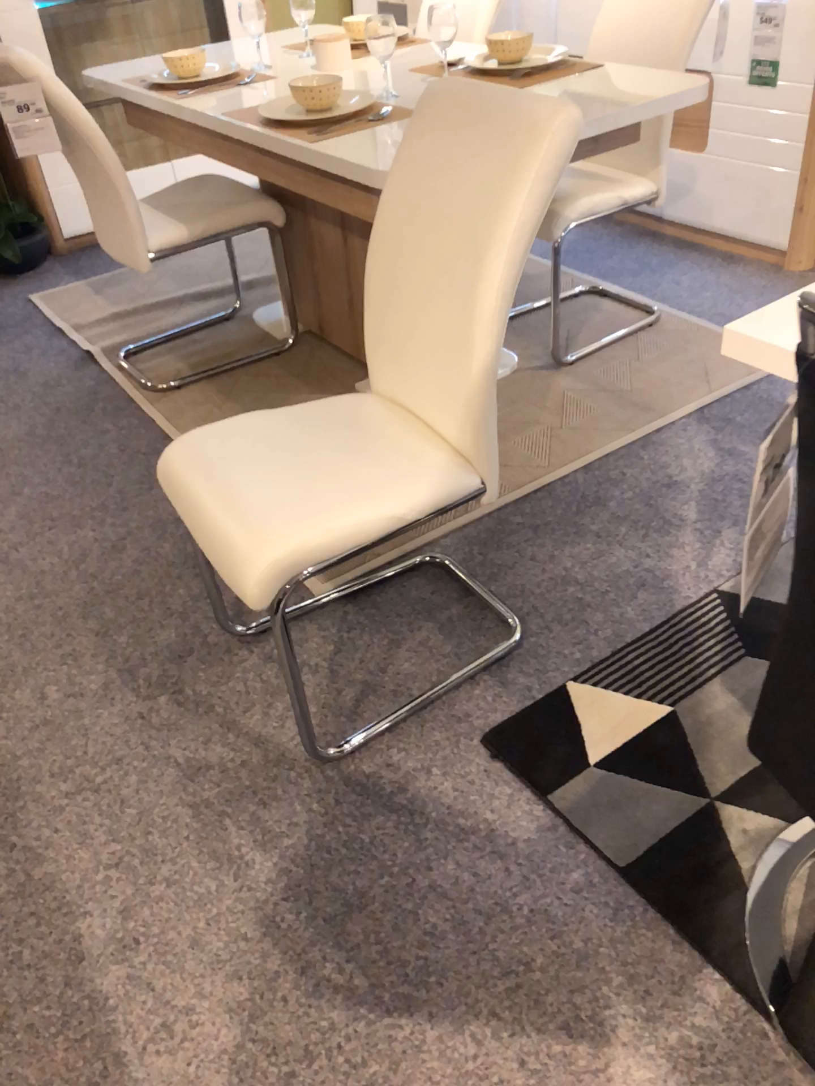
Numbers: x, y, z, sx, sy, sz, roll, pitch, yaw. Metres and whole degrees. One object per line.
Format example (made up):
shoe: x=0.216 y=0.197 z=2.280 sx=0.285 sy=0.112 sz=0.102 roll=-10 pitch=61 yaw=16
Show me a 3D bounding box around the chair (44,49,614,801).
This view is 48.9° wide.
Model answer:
chair: x=-0.082 y=-0.190 z=1.408 sx=0.552 sy=0.925 sz=0.501 roll=-25 pitch=41 yaw=-24
